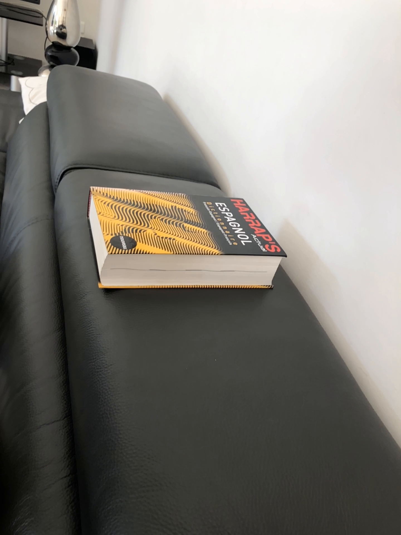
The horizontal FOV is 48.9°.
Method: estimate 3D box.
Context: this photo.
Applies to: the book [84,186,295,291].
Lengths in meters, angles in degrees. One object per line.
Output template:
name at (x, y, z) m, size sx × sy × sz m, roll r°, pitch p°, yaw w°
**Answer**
book at (-0.025, -0.044, 0.637) m, size 0.261 × 0.050 × 0.185 m, roll 1°, pitch 35°, yaw -21°
